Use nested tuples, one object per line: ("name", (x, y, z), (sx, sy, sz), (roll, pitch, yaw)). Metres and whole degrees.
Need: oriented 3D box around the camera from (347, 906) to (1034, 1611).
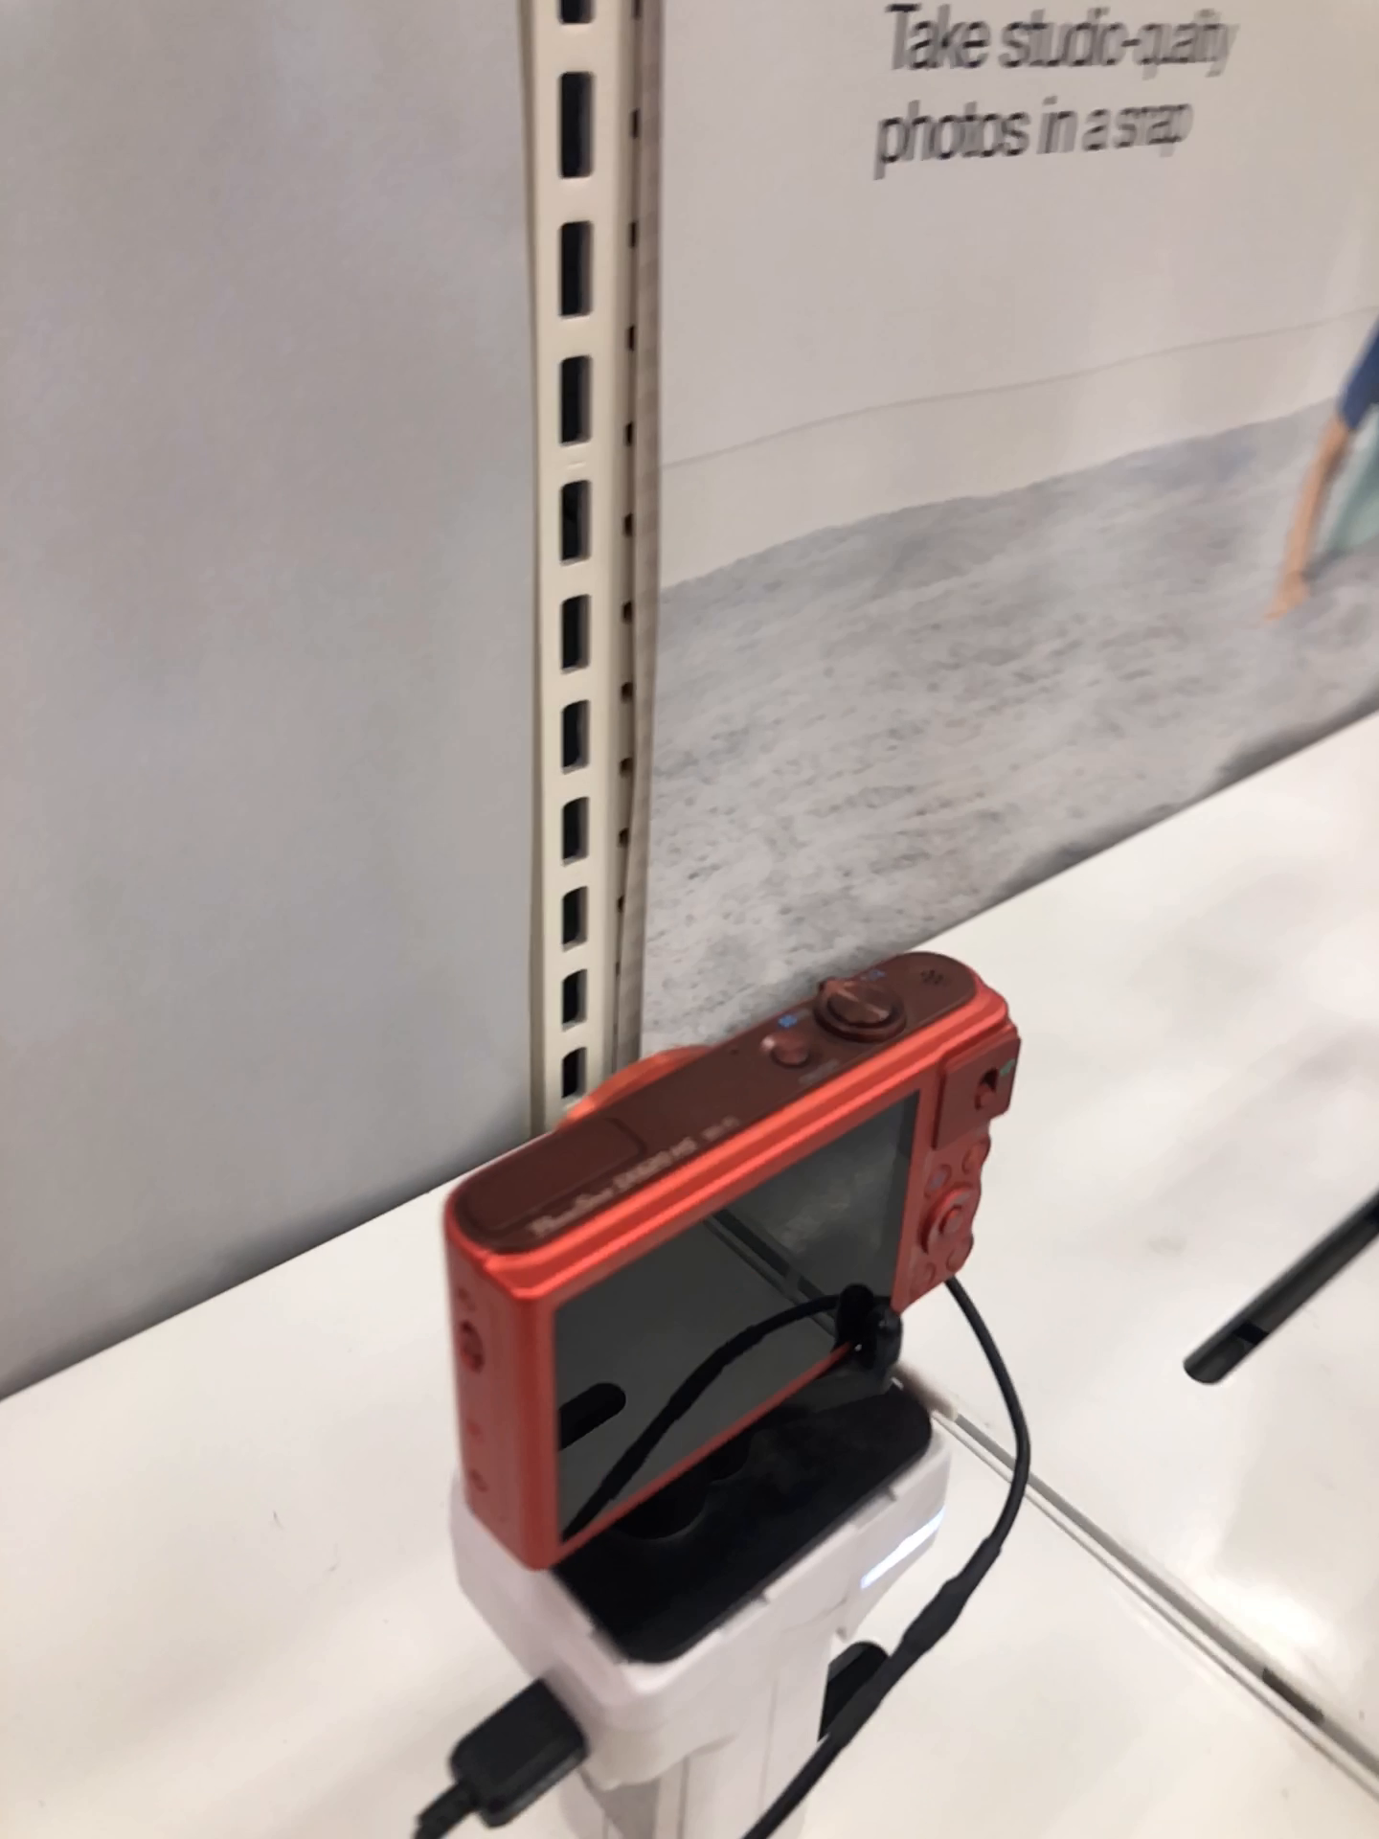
("camera", (0.004, 0.048, 0.241), (0.110, 0.060, 0.030), (-24, 41, -36))
